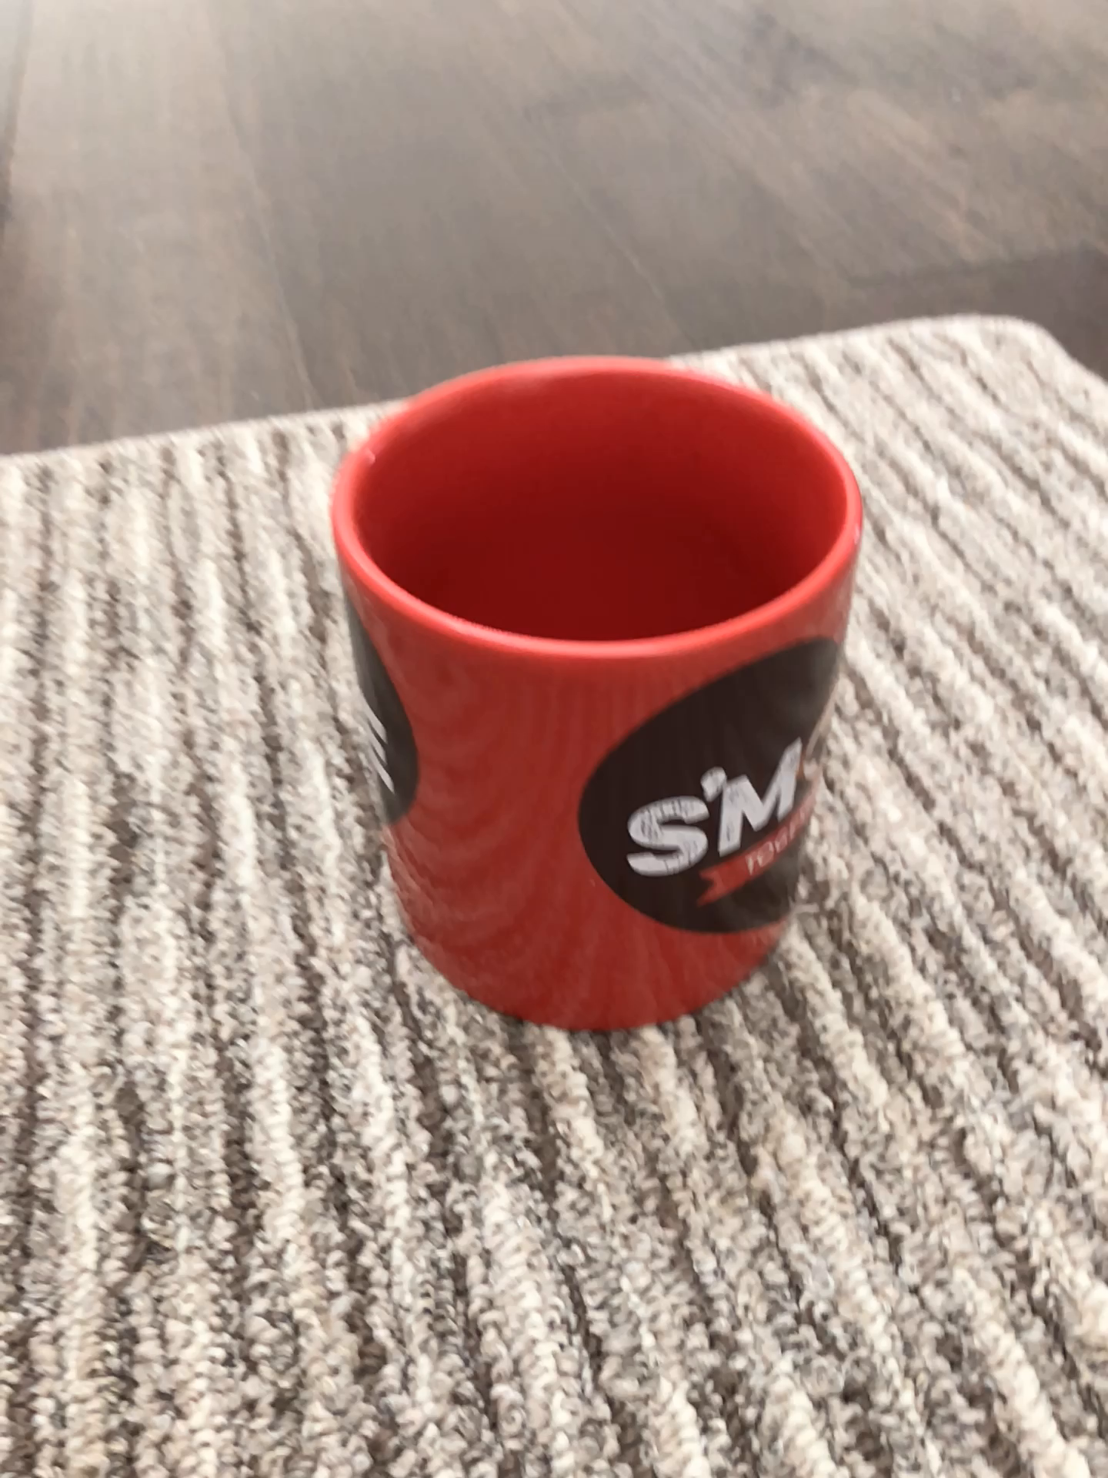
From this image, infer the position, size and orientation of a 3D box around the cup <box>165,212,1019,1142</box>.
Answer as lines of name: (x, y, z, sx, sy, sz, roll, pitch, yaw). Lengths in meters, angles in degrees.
cup: (0.018, -0.024, 0.283, 0.110, 0.119, 0.151, 20, 48, 21)
